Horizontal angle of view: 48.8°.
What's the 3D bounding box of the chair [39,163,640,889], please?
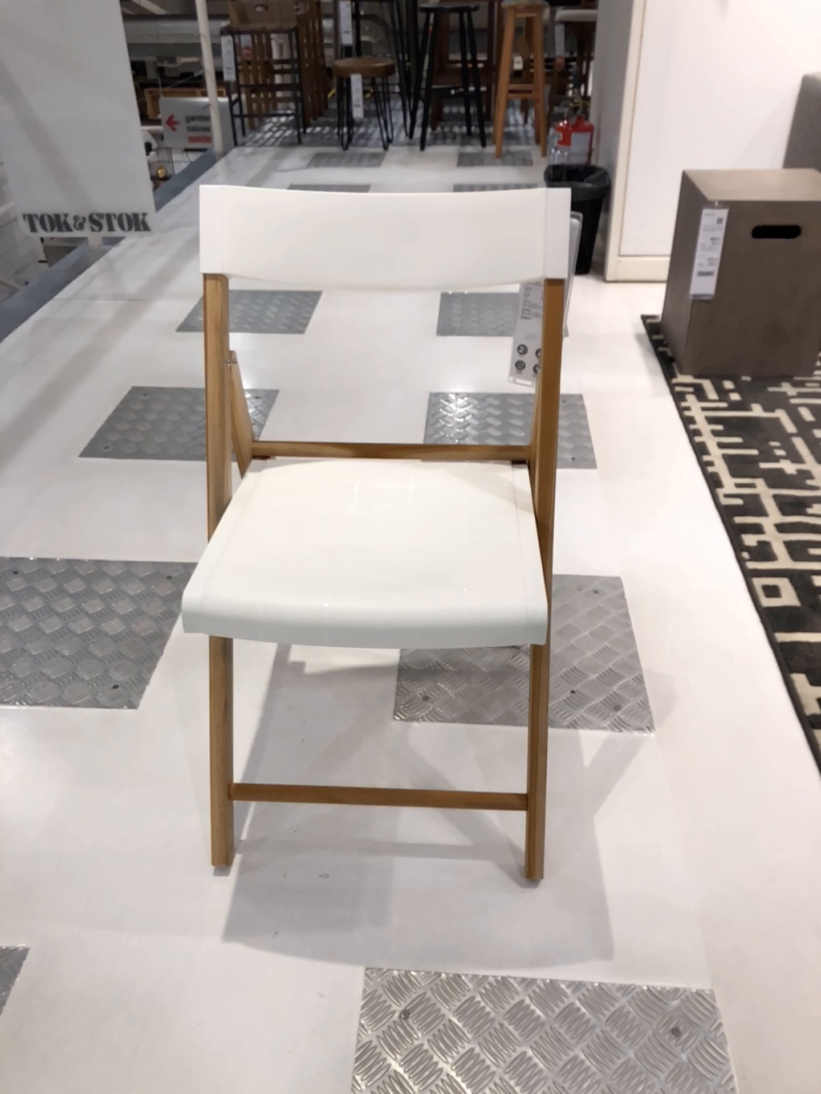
[{"bbox_3d":[-0.039,-0.044,1.127,0.470,0.705,0.554,1,34,3],"label":"chair"}]
